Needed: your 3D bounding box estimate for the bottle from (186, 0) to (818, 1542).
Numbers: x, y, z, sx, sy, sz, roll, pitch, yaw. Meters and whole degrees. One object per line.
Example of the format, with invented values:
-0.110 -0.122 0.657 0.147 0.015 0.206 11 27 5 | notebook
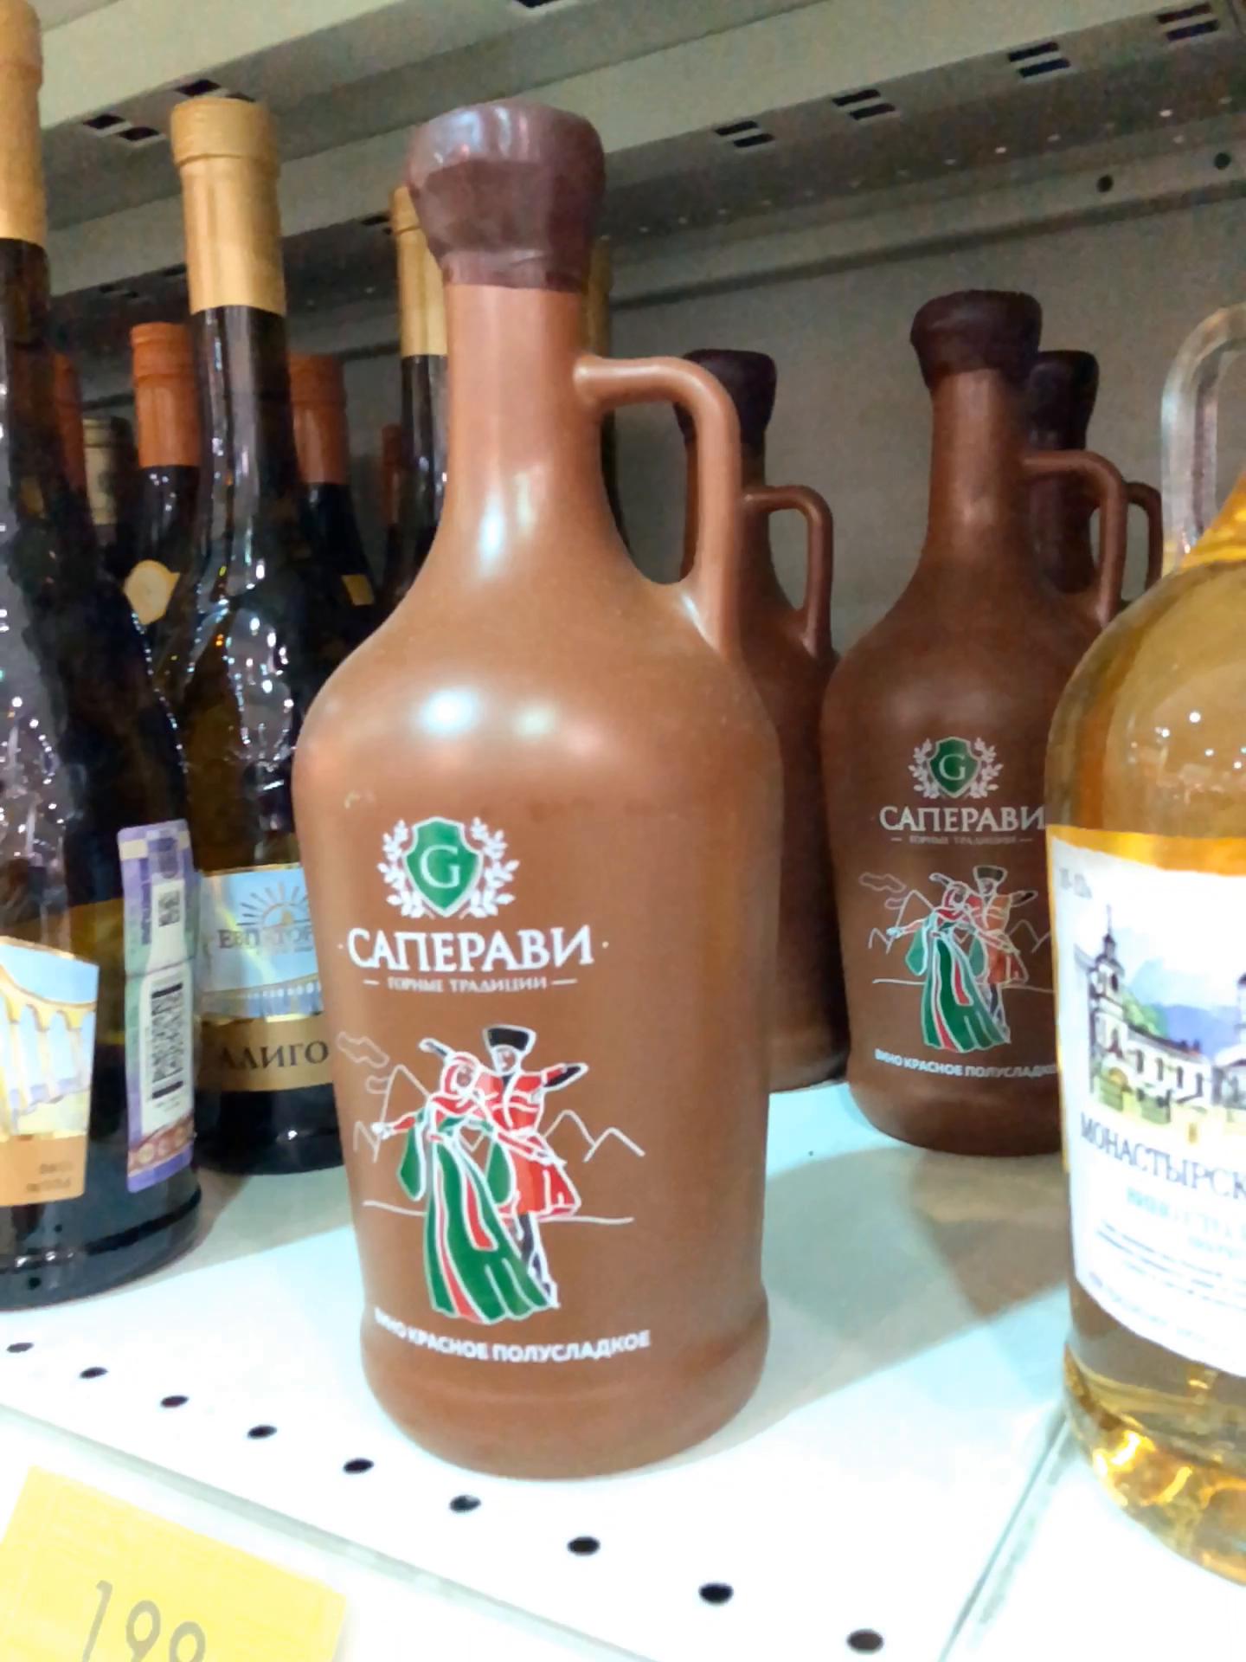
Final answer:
-0.015 -0.009 0.278 0.090 0.250 0.090 -2 6 0 | bottle
